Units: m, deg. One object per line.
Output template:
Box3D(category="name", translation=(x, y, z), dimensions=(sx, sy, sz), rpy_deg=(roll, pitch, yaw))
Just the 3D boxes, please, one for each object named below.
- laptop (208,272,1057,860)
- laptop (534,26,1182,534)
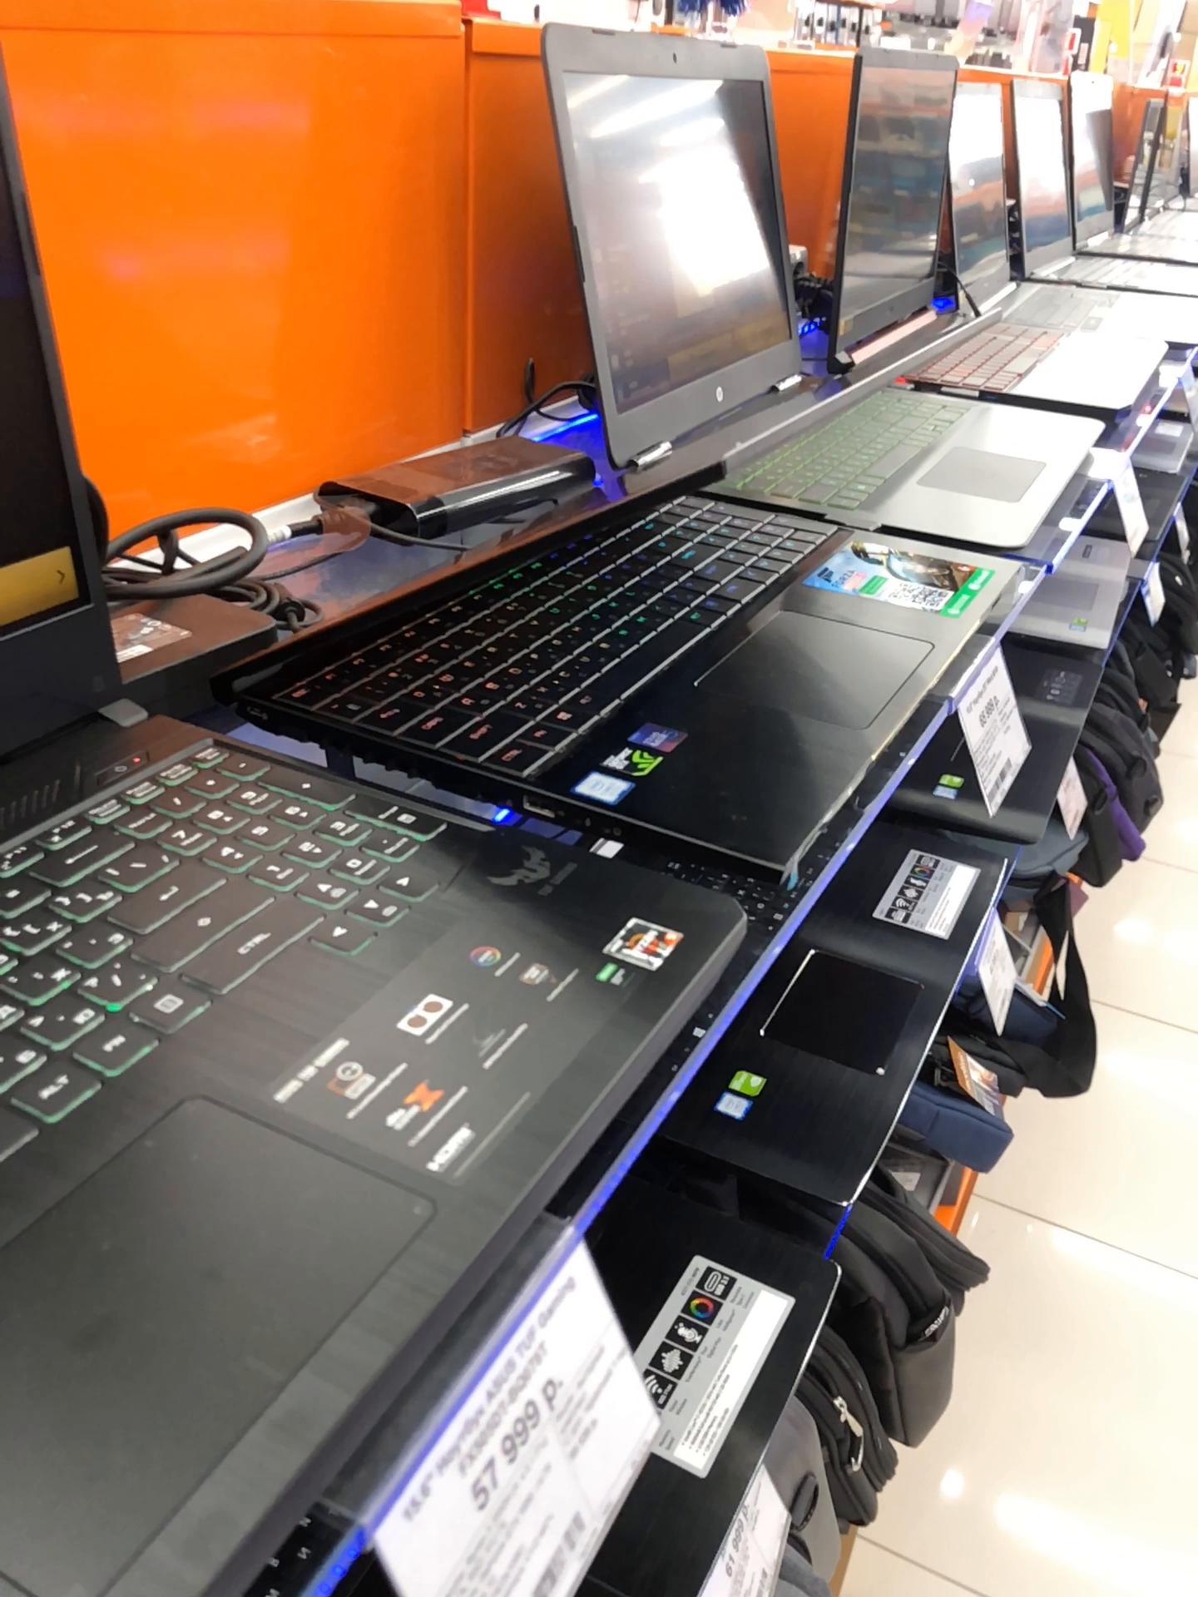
Box3D(category="laptop", translation=(0.044, -0.140, 0.596), dimensions=(0.233, 0.118, 0.361), rpy_deg=(17, 32, 22))
Box3D(category="laptop", translation=(0.179, -0.364, 0.885), dimensions=(0.306, 0.252, 0.336), rpy_deg=(15, 31, 22))
